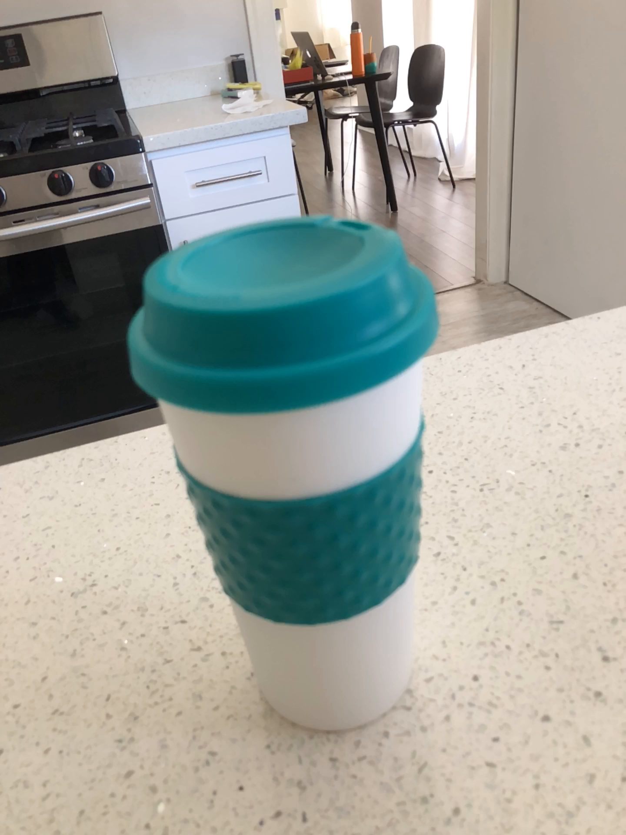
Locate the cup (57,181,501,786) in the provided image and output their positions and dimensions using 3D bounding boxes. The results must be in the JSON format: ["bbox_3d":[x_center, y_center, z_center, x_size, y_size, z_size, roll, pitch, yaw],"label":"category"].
[{"bbox_3d":[-0.002,0.022,0.238,0.100,0.169,0.100,-6,30,3],"label":"cup"}]
